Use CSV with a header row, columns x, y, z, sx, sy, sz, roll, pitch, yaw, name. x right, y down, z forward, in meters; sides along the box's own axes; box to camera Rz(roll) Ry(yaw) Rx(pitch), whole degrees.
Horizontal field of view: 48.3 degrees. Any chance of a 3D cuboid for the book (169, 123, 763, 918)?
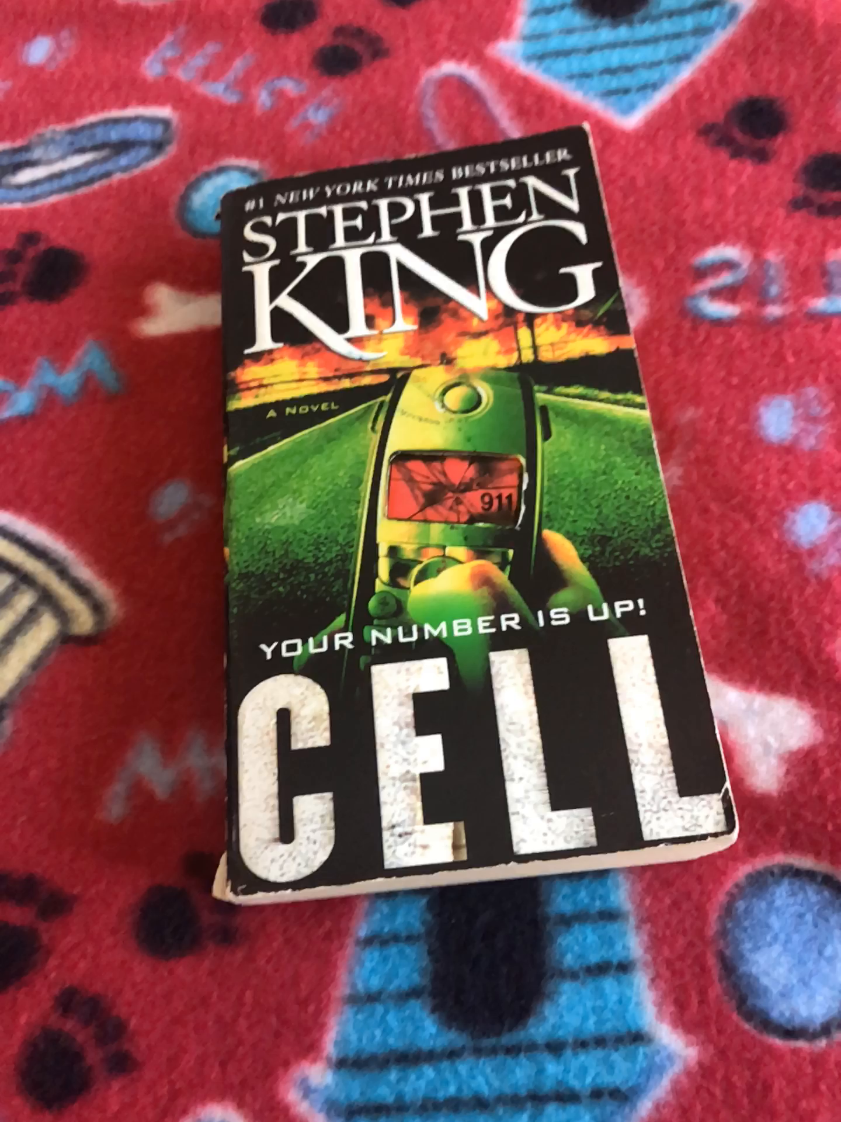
x,y,z,sx,sy,sz,roll,pitch,yaw,name
0.001,-0.021,0.242,0.120,0.030,0.200,-6,67,0,book
